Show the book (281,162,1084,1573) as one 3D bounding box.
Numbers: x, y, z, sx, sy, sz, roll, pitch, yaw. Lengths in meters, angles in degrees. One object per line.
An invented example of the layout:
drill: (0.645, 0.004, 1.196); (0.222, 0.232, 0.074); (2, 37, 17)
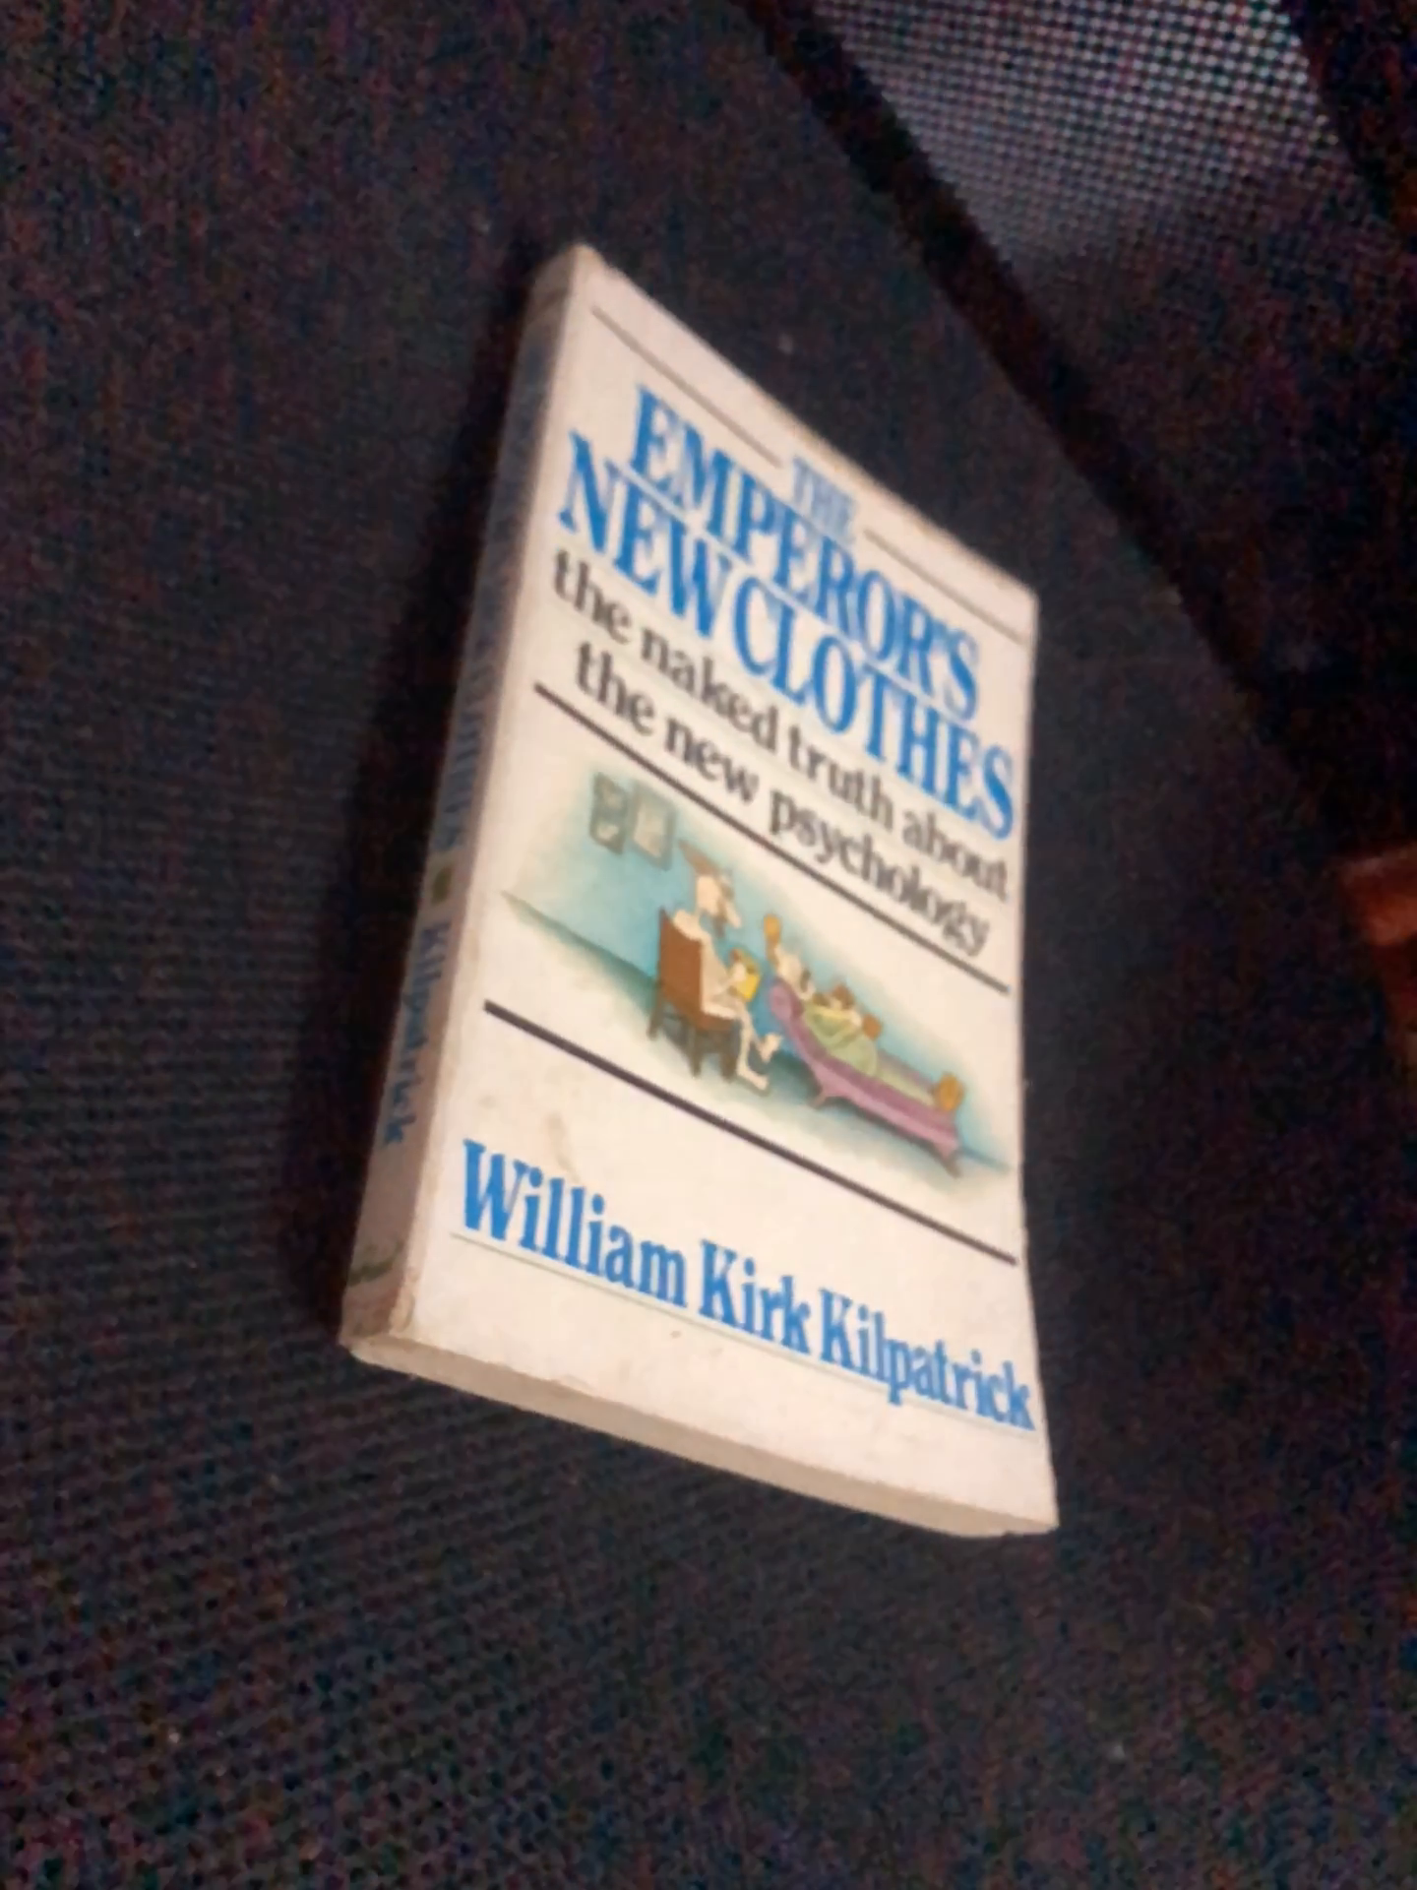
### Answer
book: (0.013, -0.019, 0.295); (0.145, 0.020, 0.230); (29, 51, -35)
